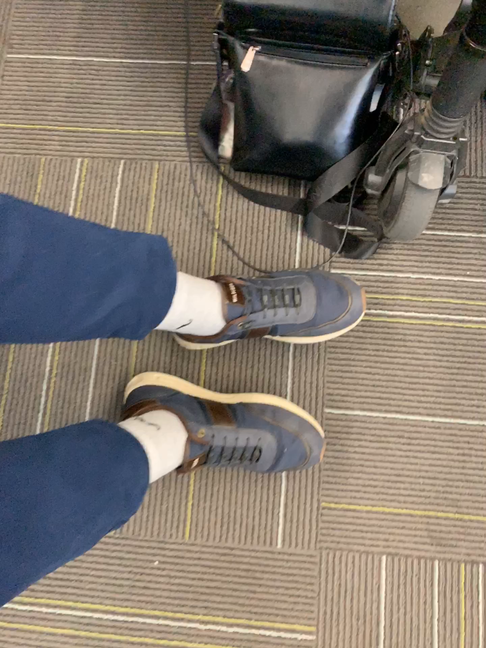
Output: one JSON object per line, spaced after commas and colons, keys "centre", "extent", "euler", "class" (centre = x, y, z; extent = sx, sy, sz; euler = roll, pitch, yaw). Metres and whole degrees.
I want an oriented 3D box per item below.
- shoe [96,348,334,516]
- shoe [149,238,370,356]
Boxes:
{"centre": [-0.046, 0.144, 0.721], "extent": [0.320, 0.100, 0.120], "euler": [14, 109, 18], "class": "shoe"}
{"centre": [0.023, -0.030, 0.726], "extent": [0.300, 0.100, 0.120], "euler": [-6, 79, 16], "class": "shoe"}
